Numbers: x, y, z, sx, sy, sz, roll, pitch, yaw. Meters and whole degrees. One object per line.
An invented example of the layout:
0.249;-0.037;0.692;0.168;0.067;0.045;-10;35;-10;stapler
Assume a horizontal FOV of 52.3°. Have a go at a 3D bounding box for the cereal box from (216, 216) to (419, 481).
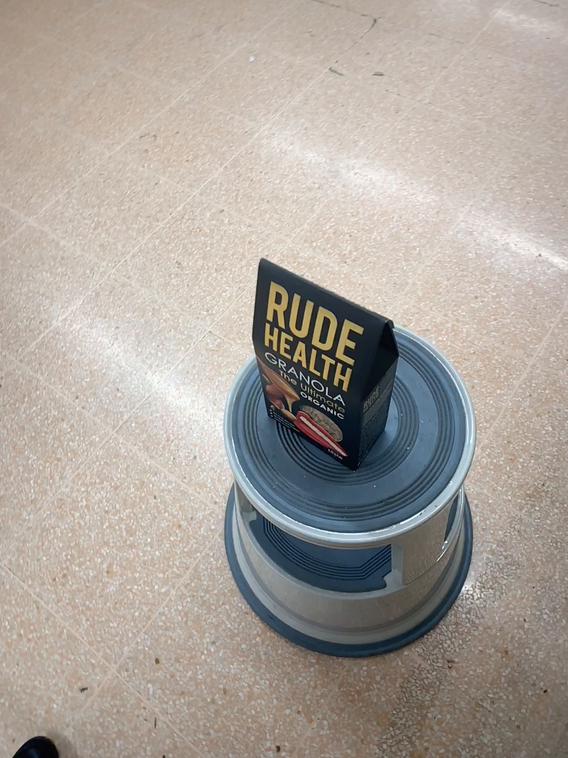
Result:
0.035;-0.012;0.552;0.140;0.258;0.070;31;68;21;cereal box
